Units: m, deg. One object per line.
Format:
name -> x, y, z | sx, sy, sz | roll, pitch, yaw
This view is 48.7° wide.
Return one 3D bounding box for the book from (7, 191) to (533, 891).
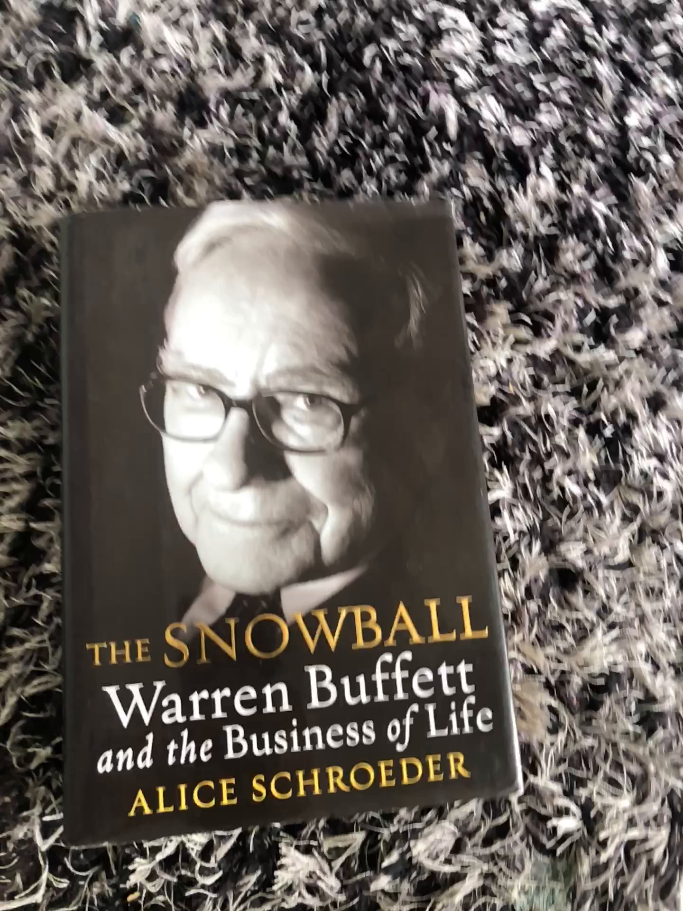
book -> -0.035, 0.022, 0.314 | 0.180, 0.060, 0.250 | -4, 78, -7
